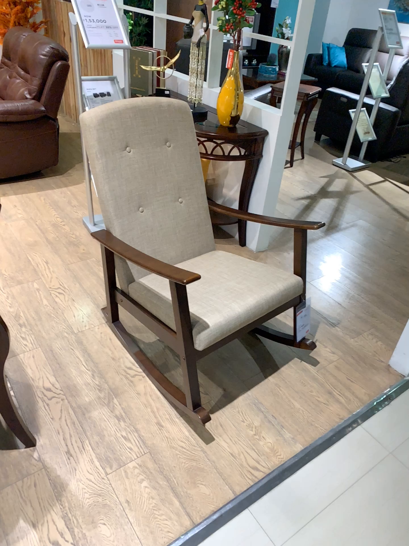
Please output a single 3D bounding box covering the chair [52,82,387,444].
[{"bbox_3d":[-0.004,-0.120,1.642,0.731,0.976,0.842,-24,44,-36],"label":"chair"}]
